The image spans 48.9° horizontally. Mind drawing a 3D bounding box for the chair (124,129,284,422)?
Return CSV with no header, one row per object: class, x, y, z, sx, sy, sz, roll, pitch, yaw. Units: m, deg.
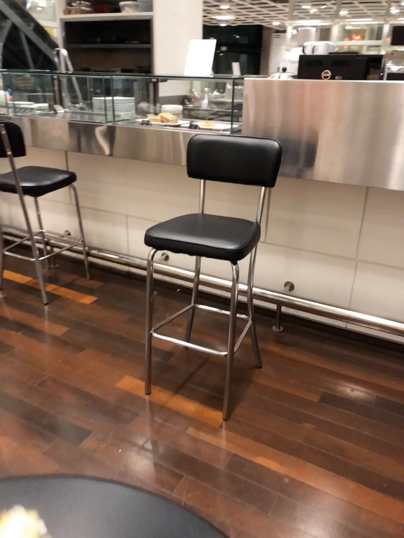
chair,0.020,-0.004,1.787,0.421,1.013,0.473,11,24,22
